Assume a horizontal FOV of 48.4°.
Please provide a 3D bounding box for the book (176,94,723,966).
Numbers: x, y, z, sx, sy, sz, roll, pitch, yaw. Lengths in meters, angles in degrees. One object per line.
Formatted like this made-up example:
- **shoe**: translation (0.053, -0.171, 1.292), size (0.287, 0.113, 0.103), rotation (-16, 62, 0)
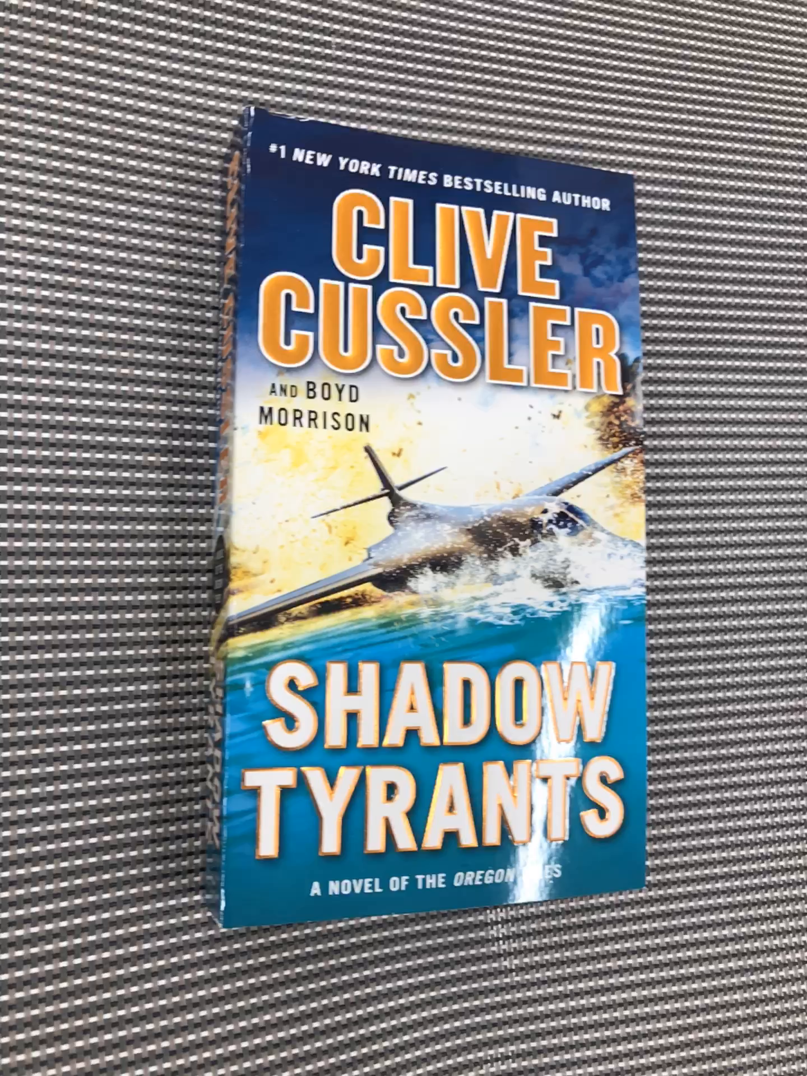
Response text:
- **book**: translation (0.010, -0.001, 0.231), size (0.120, 0.060, 0.180), rotation (3, 82, -19)
